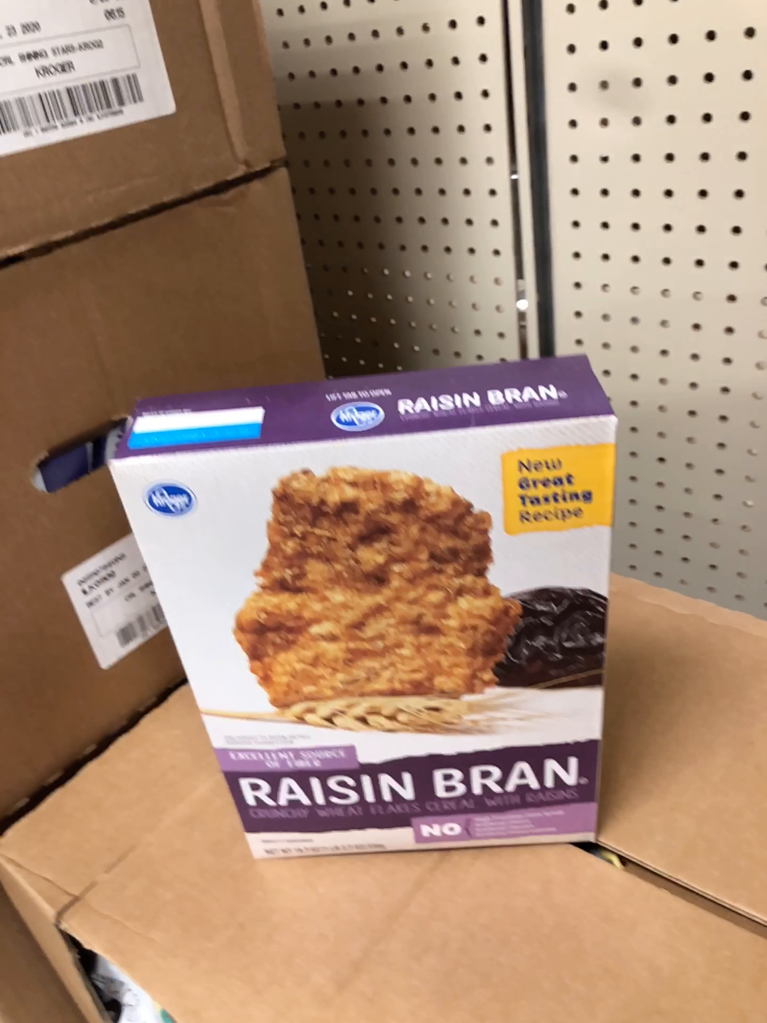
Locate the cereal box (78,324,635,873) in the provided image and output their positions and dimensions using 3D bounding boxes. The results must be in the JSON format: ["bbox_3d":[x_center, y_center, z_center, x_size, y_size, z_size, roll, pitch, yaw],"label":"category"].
[{"bbox_3d":[0.009,0.065,0.390,0.190,0.279,0.050,-6,38,7],"label":"cereal box"}]
